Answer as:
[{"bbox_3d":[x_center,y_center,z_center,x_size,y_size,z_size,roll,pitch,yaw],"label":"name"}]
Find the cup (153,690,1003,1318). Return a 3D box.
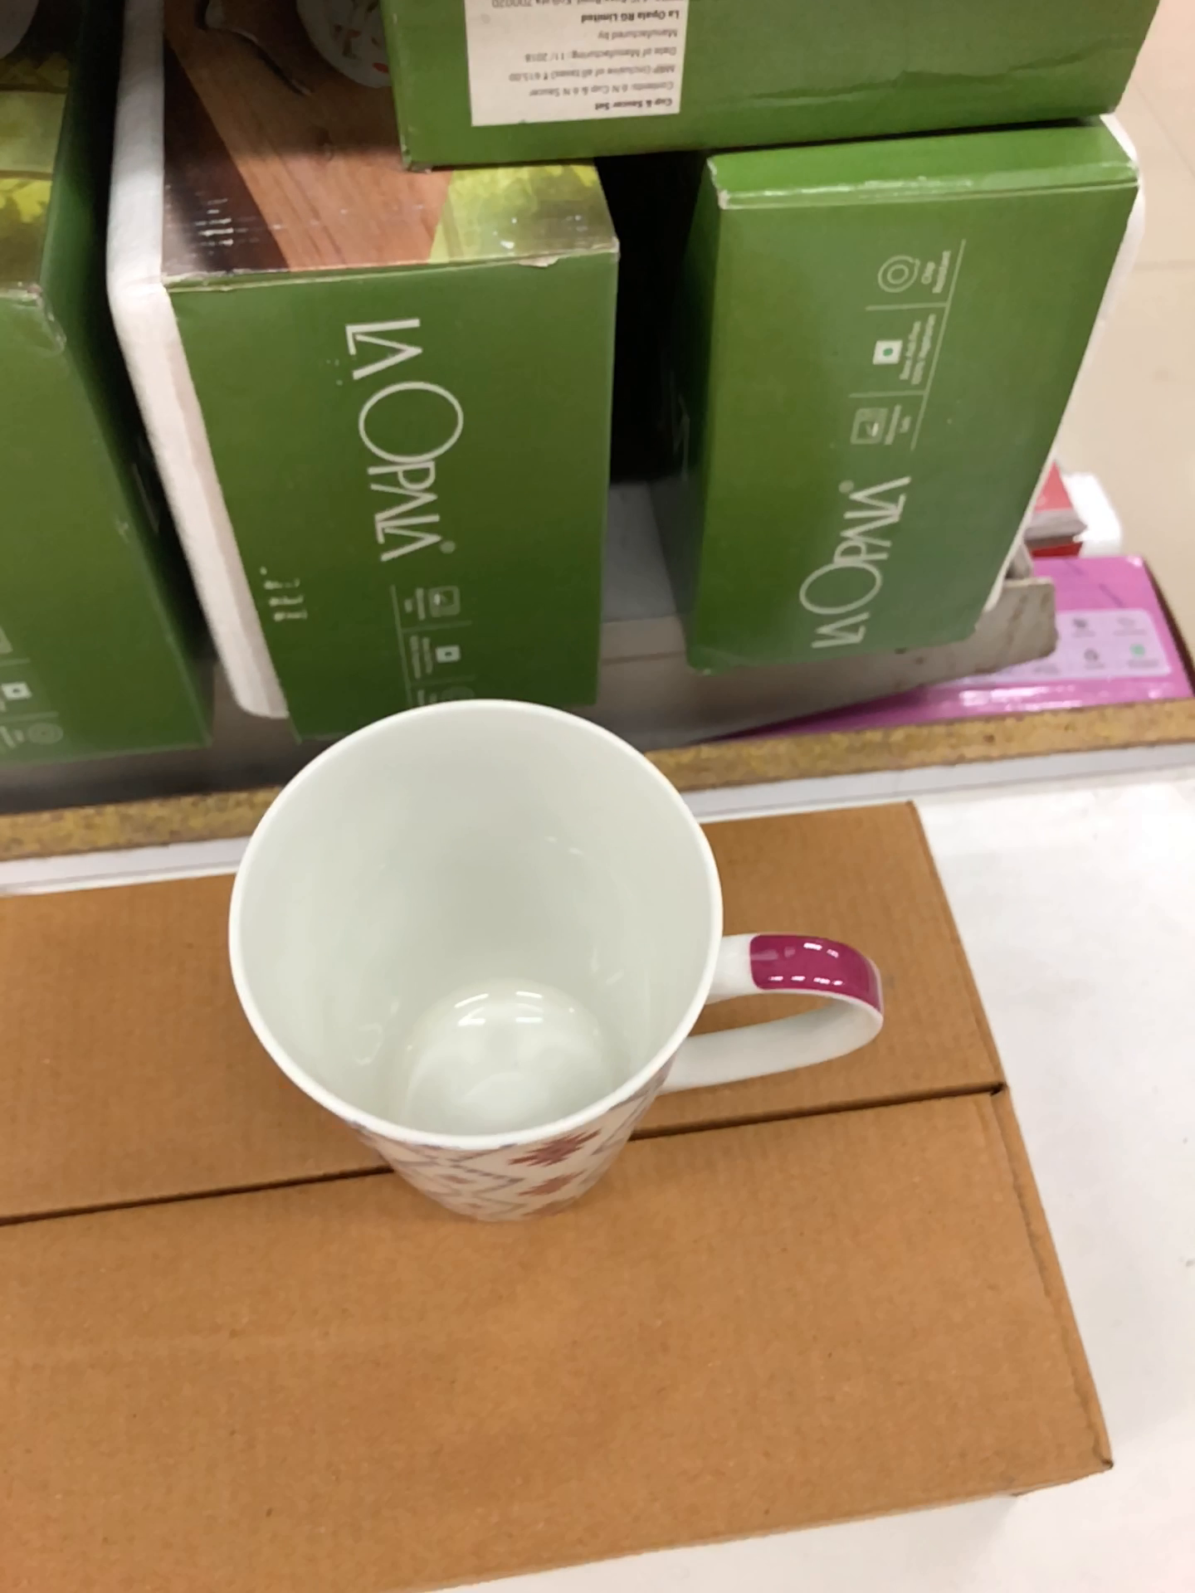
[{"bbox_3d":[-0.003,0.044,0.252,0.120,0.100,0.080,2,56,-1],"label":"cup"}]
